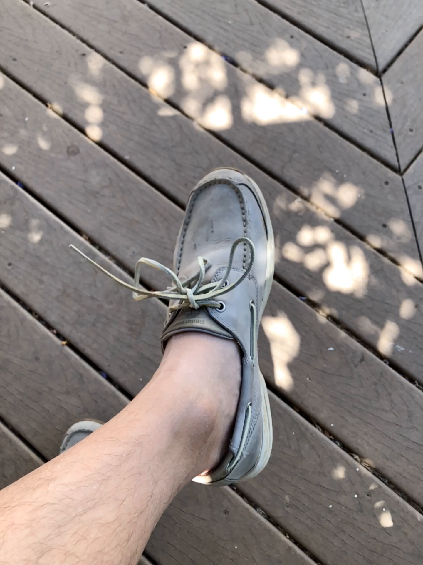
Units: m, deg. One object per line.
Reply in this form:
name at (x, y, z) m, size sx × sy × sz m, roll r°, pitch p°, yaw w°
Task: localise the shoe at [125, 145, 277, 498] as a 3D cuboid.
shoe at (-0.003, 0.036, 0.491) m, size 0.110 × 0.092 × 0.323 m, roll -8°, pitch 71°, yaw 34°
